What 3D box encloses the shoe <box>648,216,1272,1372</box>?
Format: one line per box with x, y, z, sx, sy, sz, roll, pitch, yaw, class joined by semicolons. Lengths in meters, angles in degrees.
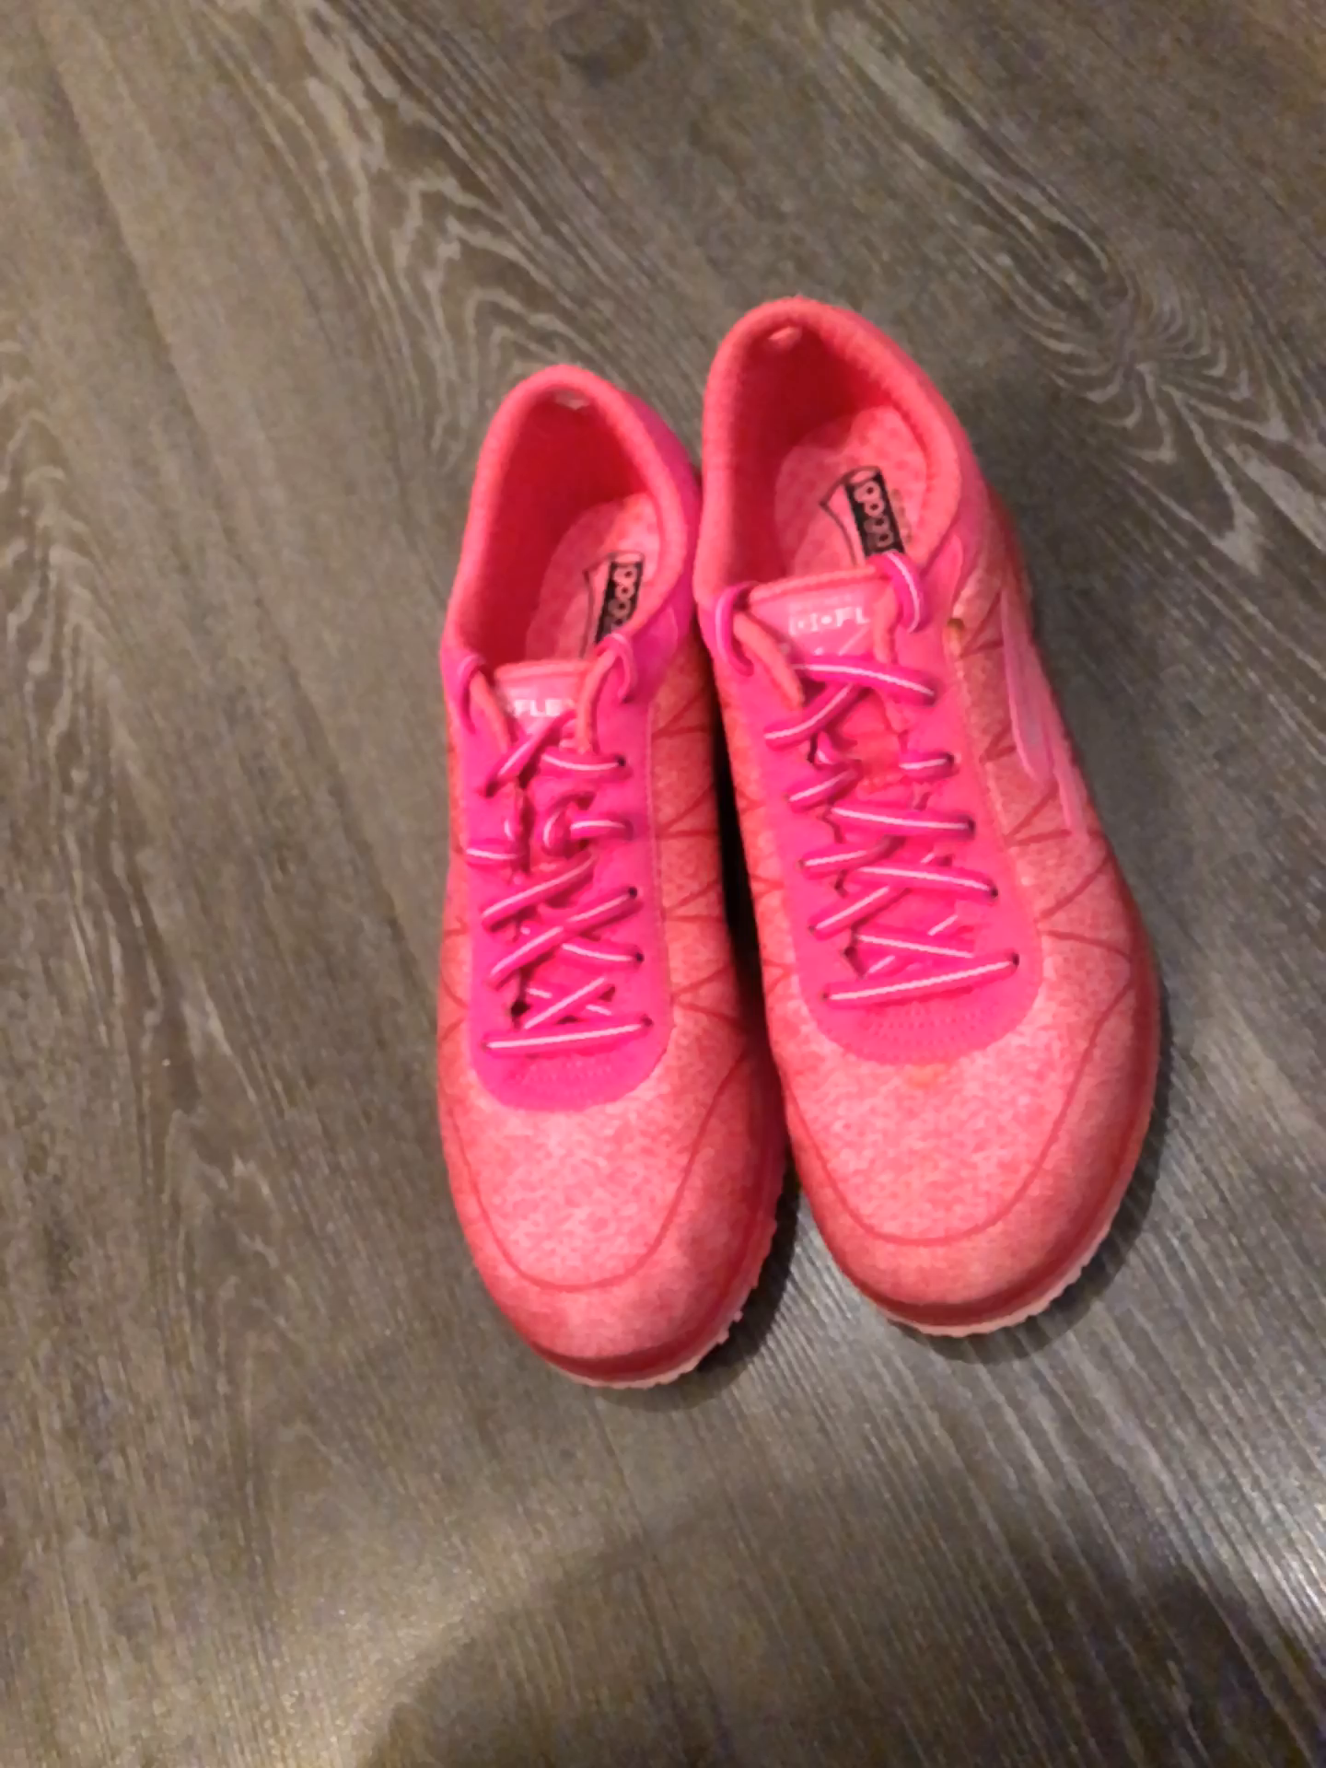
0.066;-0.023;0.368;0.100;0.090;0.261;-11;65;15;shoe

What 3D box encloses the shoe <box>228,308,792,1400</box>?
-0.027;-0.007;0.384;0.100;0.090;0.261;-6;66;17;shoe
